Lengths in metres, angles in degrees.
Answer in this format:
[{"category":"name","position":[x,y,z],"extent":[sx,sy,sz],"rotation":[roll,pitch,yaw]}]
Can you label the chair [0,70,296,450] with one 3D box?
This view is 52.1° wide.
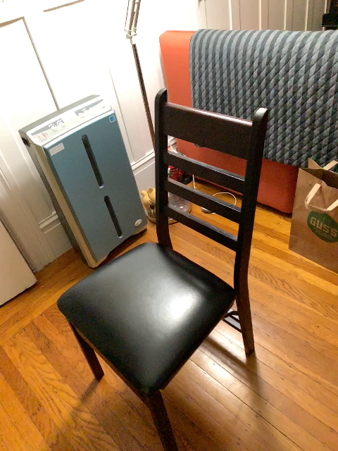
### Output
[{"category":"chair","position":[-0.050,0.141,0.936],"extent":[0.492,0.865,0.551],"rotation":[25,52,37]}]
